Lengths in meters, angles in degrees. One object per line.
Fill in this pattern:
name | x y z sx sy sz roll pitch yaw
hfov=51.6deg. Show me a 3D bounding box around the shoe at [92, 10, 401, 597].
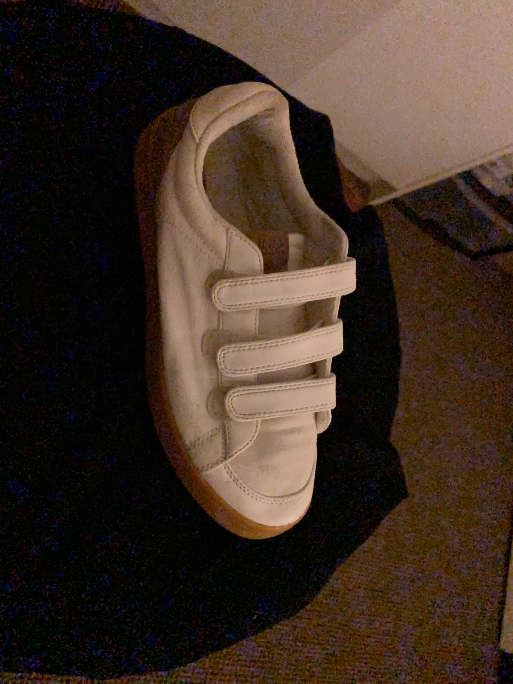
shoe | -0.007 -0.019 0.286 0.096 0.080 0.254 -10 90 -35
